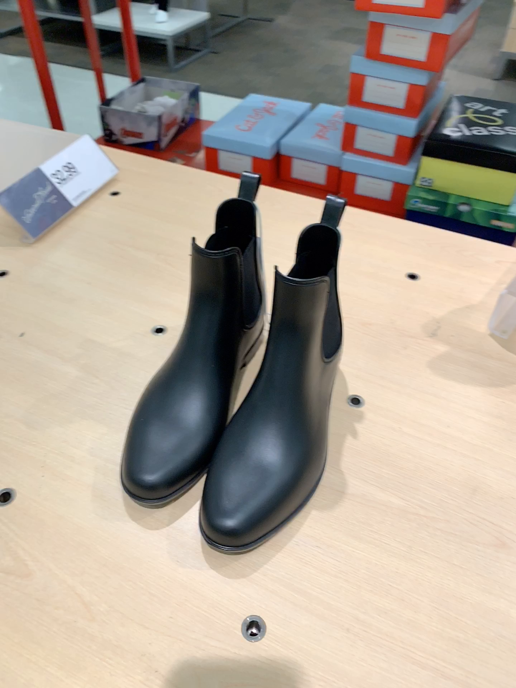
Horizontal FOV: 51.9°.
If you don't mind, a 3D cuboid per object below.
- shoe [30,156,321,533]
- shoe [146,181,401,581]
[{"bbox_3d":[-0.047,-0.015,0.504,0.113,0.201,0.287,16,45,15],"label":"shoe"},{"bbox_3d":[0.031,0.017,0.475,0.100,0.199,0.287,16,45,15],"label":"shoe"}]
